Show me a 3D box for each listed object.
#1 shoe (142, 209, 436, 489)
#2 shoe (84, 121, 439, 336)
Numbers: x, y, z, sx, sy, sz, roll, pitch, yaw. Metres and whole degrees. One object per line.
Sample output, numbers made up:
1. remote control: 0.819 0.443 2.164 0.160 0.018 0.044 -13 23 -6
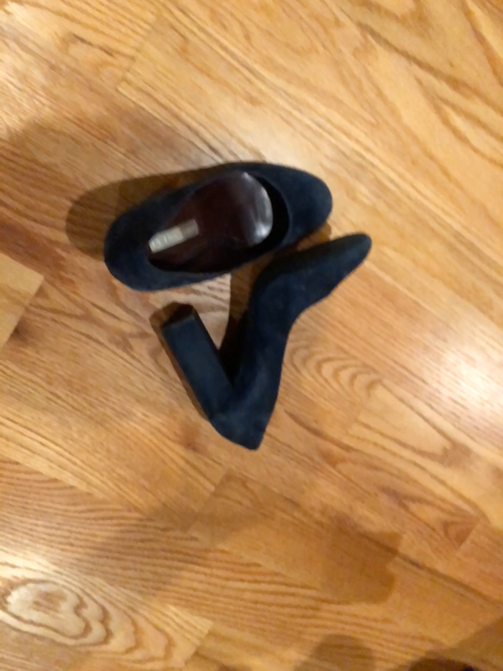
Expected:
1. shoe: 0.033 0.007 0.499 0.204 0.080 0.152 -30 111 -5
2. shoe: -0.002 -0.090 0.430 0.226 0.146 0.080 -18 109 -9
